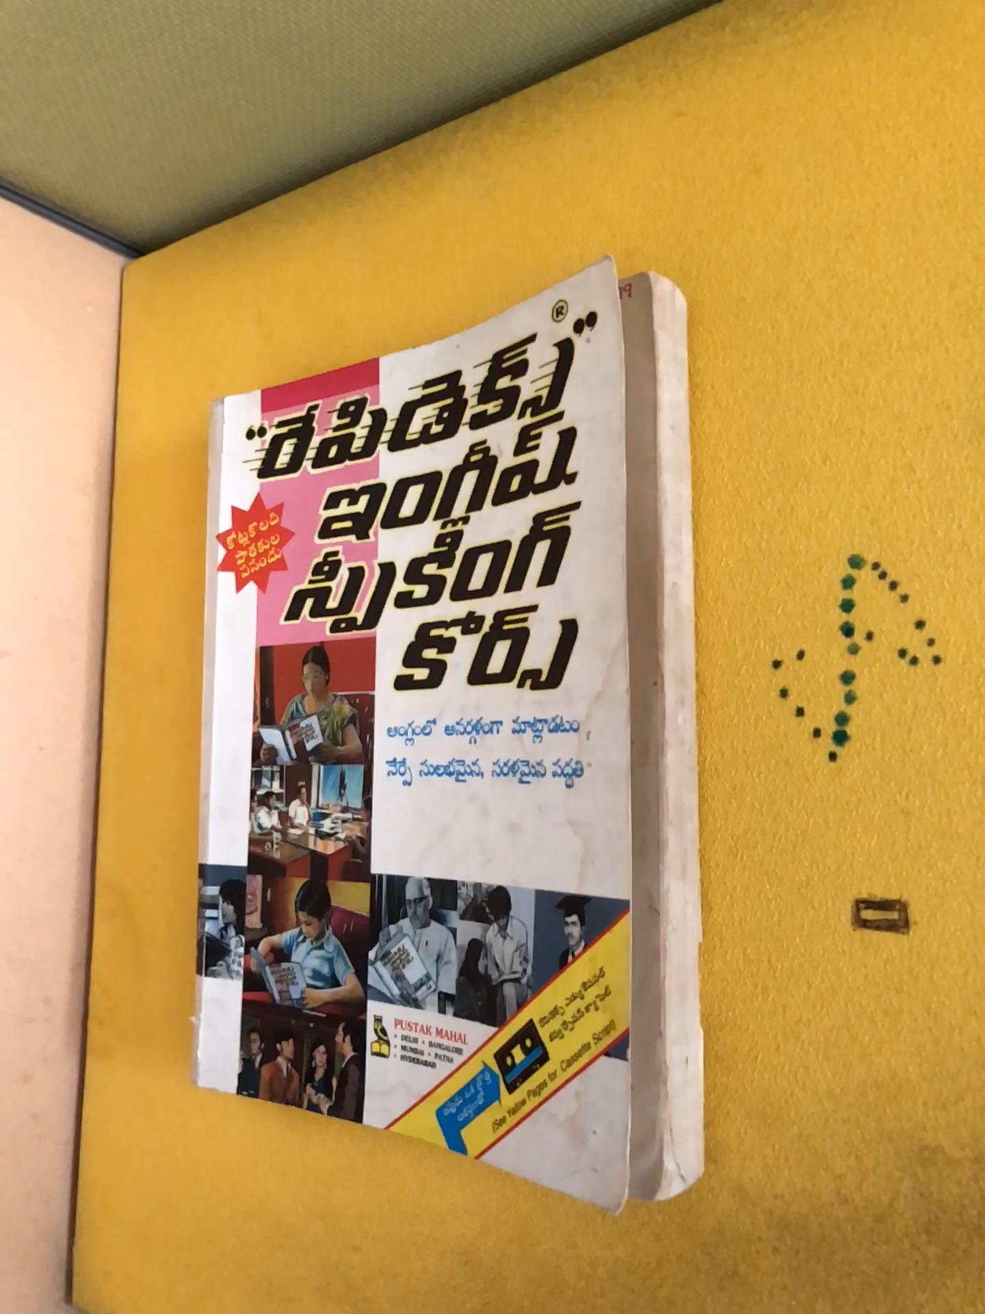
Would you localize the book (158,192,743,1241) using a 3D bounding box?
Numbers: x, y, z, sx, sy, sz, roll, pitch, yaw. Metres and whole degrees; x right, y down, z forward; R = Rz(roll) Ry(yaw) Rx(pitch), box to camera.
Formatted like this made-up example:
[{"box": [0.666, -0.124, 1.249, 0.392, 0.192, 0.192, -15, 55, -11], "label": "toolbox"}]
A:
[{"box": [-0.024, 0.015, 0.329, 0.191, 0.030, 0.250, -5, 81, 36], "label": "book"}]
